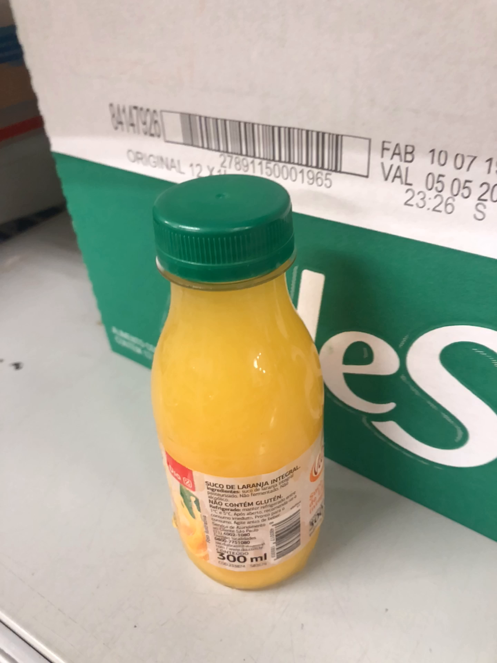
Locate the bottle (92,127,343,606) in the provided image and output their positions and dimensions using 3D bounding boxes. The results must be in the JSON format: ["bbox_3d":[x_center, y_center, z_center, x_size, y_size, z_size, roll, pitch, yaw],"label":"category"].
[{"bbox_3d":[-0.007,0.019,0.210,0.060,0.159,0.071,-13,36,-9],"label":"bottle"}]
